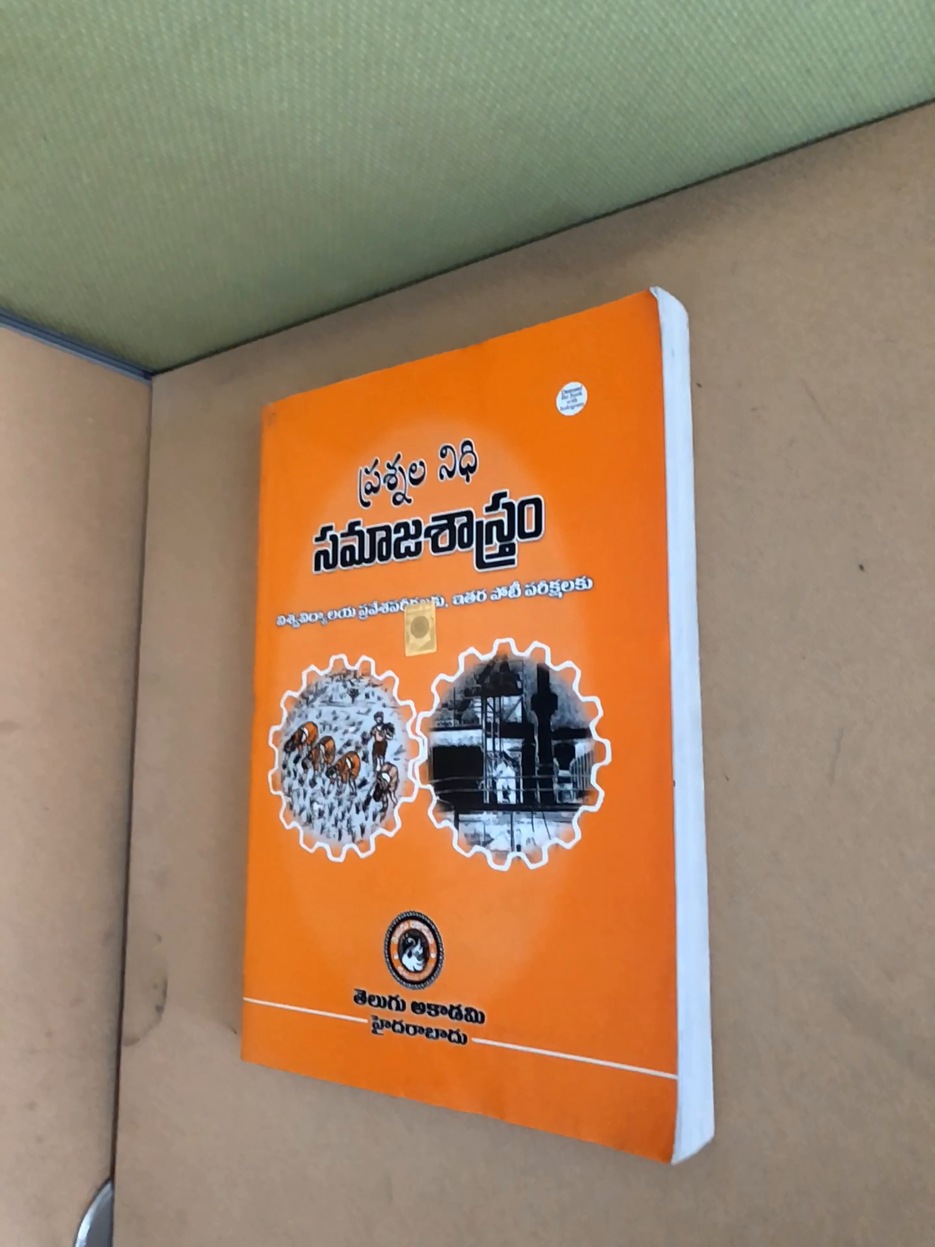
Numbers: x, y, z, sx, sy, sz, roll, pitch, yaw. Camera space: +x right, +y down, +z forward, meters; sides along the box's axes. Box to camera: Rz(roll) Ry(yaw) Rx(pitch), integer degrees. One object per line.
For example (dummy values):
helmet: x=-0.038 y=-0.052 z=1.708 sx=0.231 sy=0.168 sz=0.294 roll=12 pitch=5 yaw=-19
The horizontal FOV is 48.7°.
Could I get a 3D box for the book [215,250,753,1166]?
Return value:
book: x=-0.003 y=0.029 z=0.409 sx=0.211 sy=0.050 sz=0.290 roll=-6 pitch=79 yaw=36
